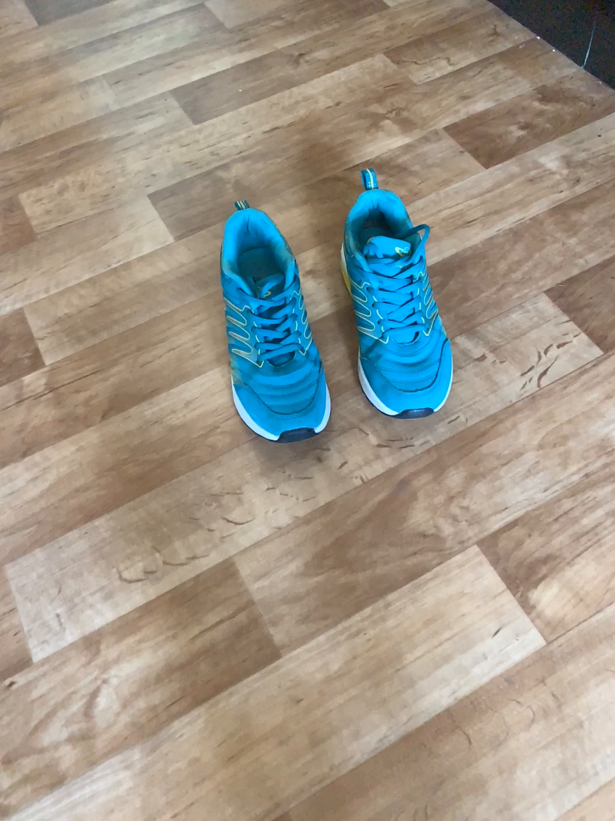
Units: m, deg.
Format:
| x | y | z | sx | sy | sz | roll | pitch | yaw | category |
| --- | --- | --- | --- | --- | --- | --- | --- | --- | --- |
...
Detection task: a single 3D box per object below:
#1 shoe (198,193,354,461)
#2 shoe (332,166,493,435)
| x | y | z | sx | sy | sz | roll | pitch | yaw | category |
| --- | --- | --- | --- | --- | --- | --- | --- | --- | --- |
| -0.036 | -0.087 | 0.632 | 0.100 | 0.120 | 0.231 | -11 | 59 | -7 | shoe |
| 0.093 | -0.114 | 0.643 | 0.100 | 0.120 | 0.241 | -7 | 60 | -3 | shoe |
